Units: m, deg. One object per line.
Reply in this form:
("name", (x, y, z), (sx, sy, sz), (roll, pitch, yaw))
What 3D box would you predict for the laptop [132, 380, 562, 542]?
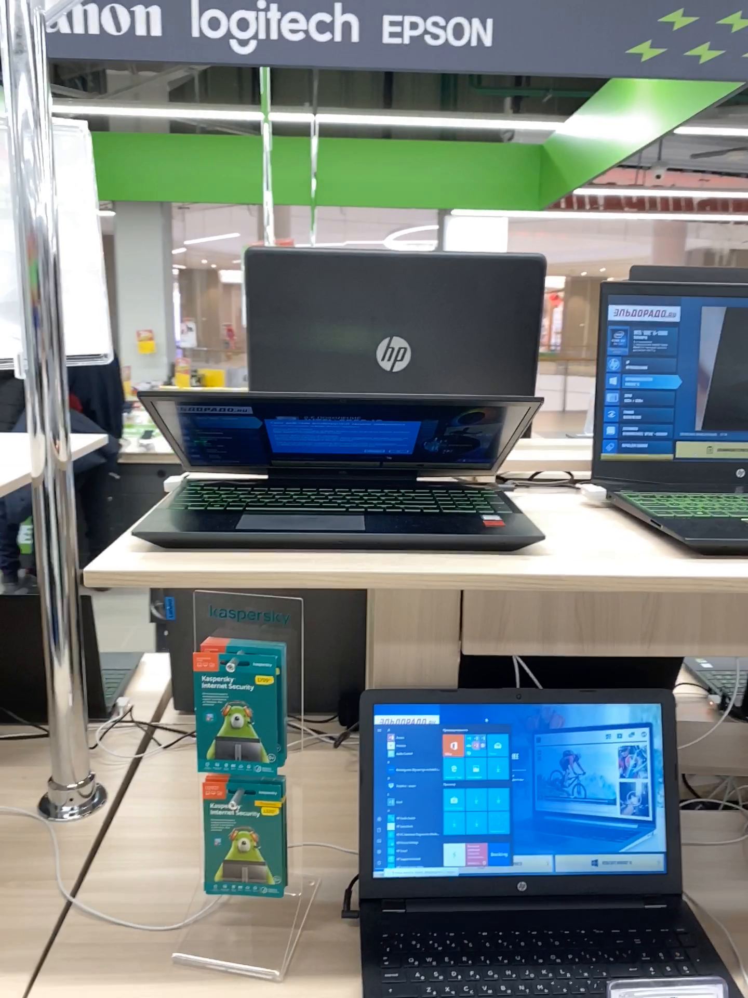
("laptop", (-0.027, -0.049, 0.776), (0.364, 0.115, 0.244), (2, 12, -2))
